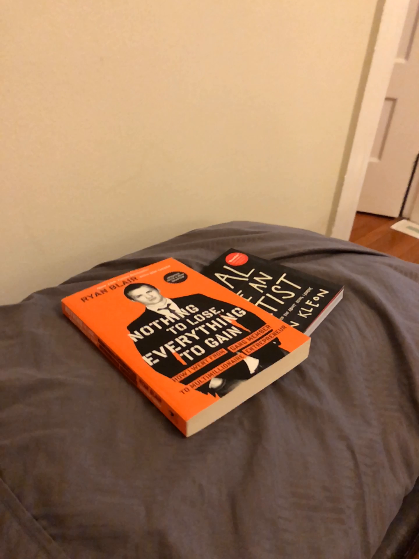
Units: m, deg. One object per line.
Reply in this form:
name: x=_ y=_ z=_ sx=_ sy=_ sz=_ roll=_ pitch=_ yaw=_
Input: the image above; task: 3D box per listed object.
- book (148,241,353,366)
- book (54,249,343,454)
book: x=0.047 y=0.014 z=0.507 sx=0.170 sy=0.020 sz=0.151 roll=20 pitch=35 yaw=30
book: x=-0.018 y=0.044 z=0.449 sx=0.171 sy=0.020 sz=0.231 roll=-22 pitch=38 yaw=-36
